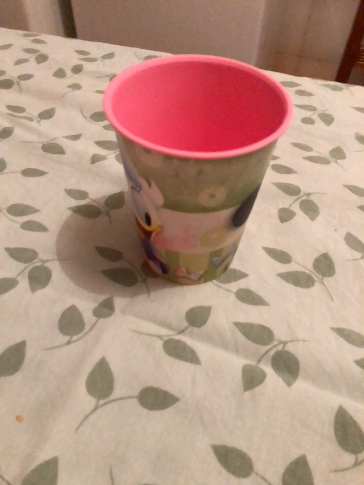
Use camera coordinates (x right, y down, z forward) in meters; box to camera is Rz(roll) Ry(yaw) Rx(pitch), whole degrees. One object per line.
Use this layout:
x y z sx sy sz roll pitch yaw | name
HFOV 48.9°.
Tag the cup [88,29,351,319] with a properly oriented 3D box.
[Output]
0.007 -0.036 0.227 0.100 0.119 0.101 1 49 -1 | cup
